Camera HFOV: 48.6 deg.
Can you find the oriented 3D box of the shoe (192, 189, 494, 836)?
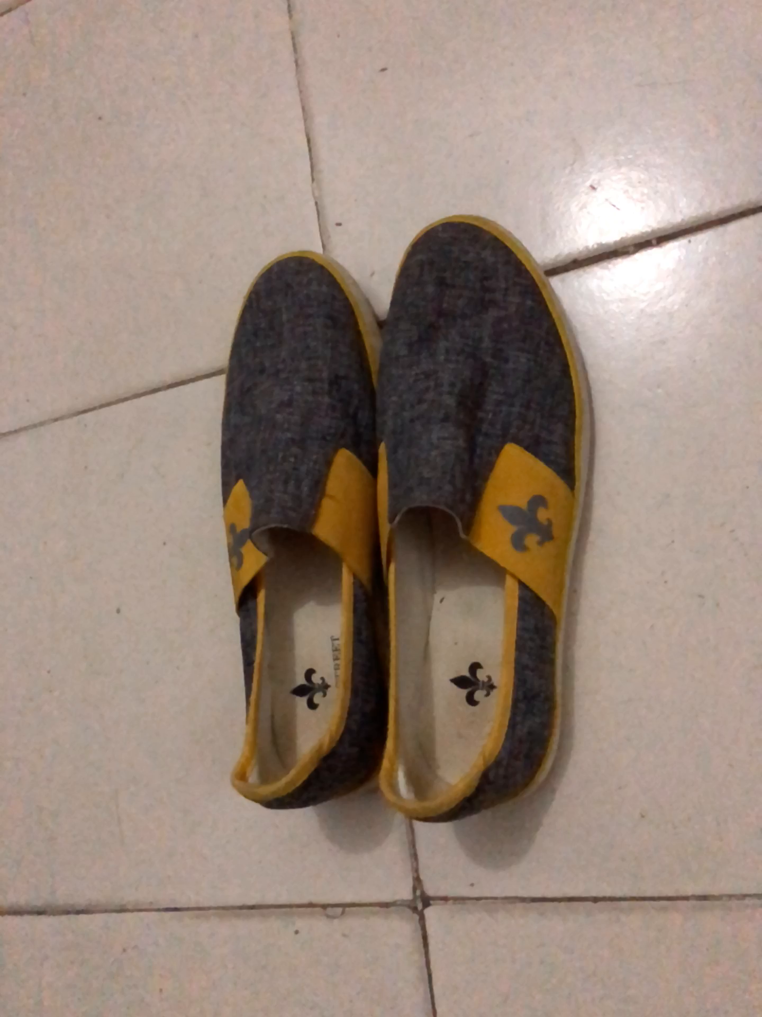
[{"bbox_3d":[-0.019,0.006,0.438,0.100,0.100,0.290,-8,81,22],"label":"shoe"}]

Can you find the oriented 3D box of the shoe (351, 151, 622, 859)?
[{"bbox_3d":[0.049,0.000,0.371,0.090,0.100,0.260,-3,83,23],"label":"shoe"}]
